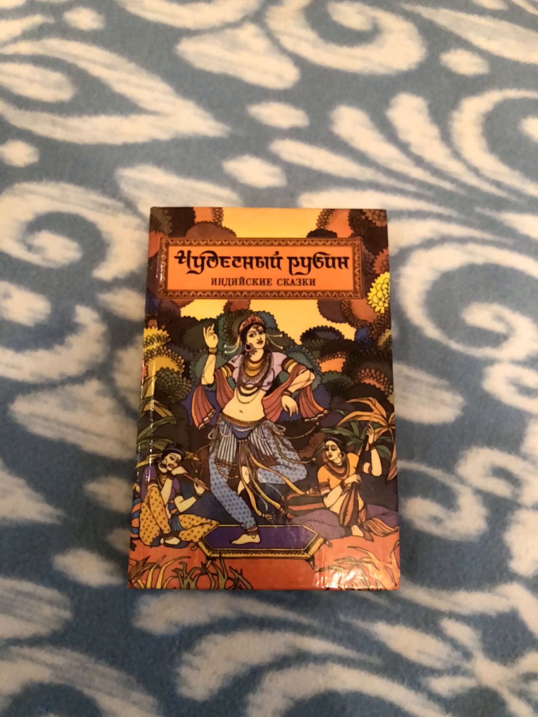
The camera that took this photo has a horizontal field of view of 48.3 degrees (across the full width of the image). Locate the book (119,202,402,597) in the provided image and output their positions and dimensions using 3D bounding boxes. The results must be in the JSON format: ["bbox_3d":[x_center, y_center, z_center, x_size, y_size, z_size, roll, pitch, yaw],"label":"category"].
[{"bbox_3d":[-0.003,0.017,0.331,0.139,0.027,0.210,1,77,0],"label":"book"}]
